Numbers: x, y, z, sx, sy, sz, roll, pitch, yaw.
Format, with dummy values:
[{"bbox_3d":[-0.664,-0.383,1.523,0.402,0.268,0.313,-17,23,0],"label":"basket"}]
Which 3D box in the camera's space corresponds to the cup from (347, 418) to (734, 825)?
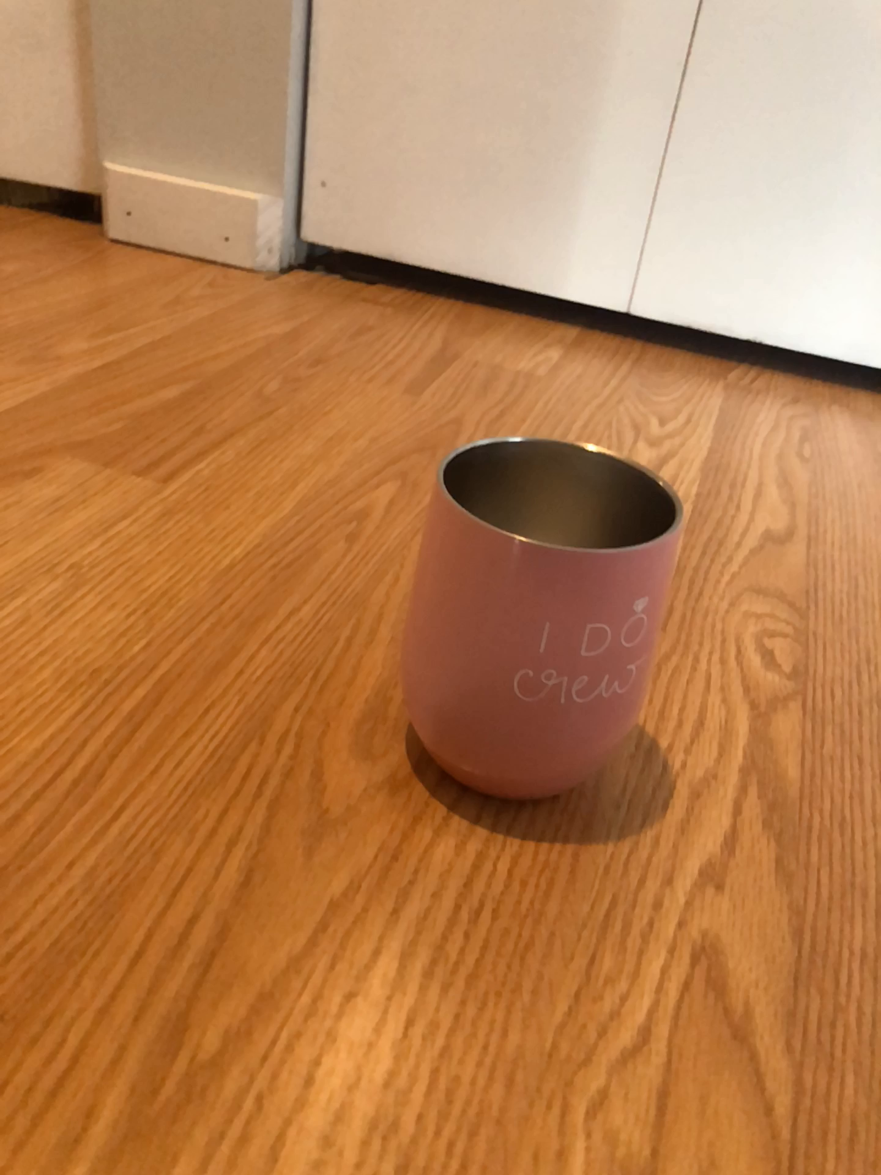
[{"bbox_3d":[0.024,0.008,0.334,0.090,0.100,0.090,7,32,-4],"label":"cup"}]
